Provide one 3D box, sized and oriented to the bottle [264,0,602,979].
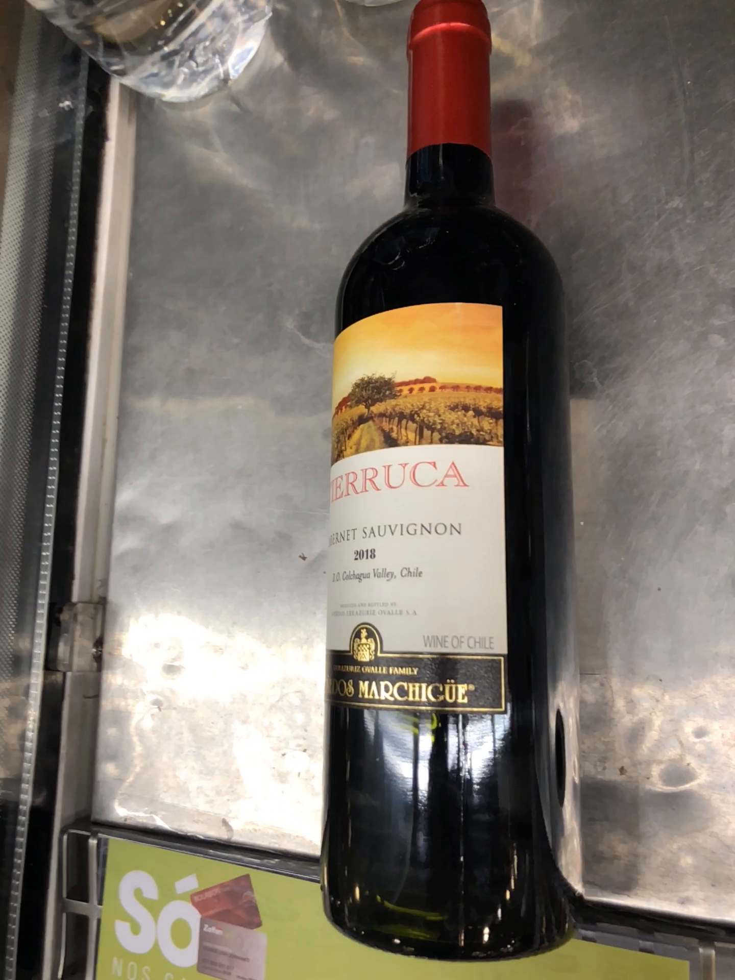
[{"bbox_3d":[0.020,-0.032,0.250,0.080,0.050,0.310,-4,80,26],"label":"bottle"}]
